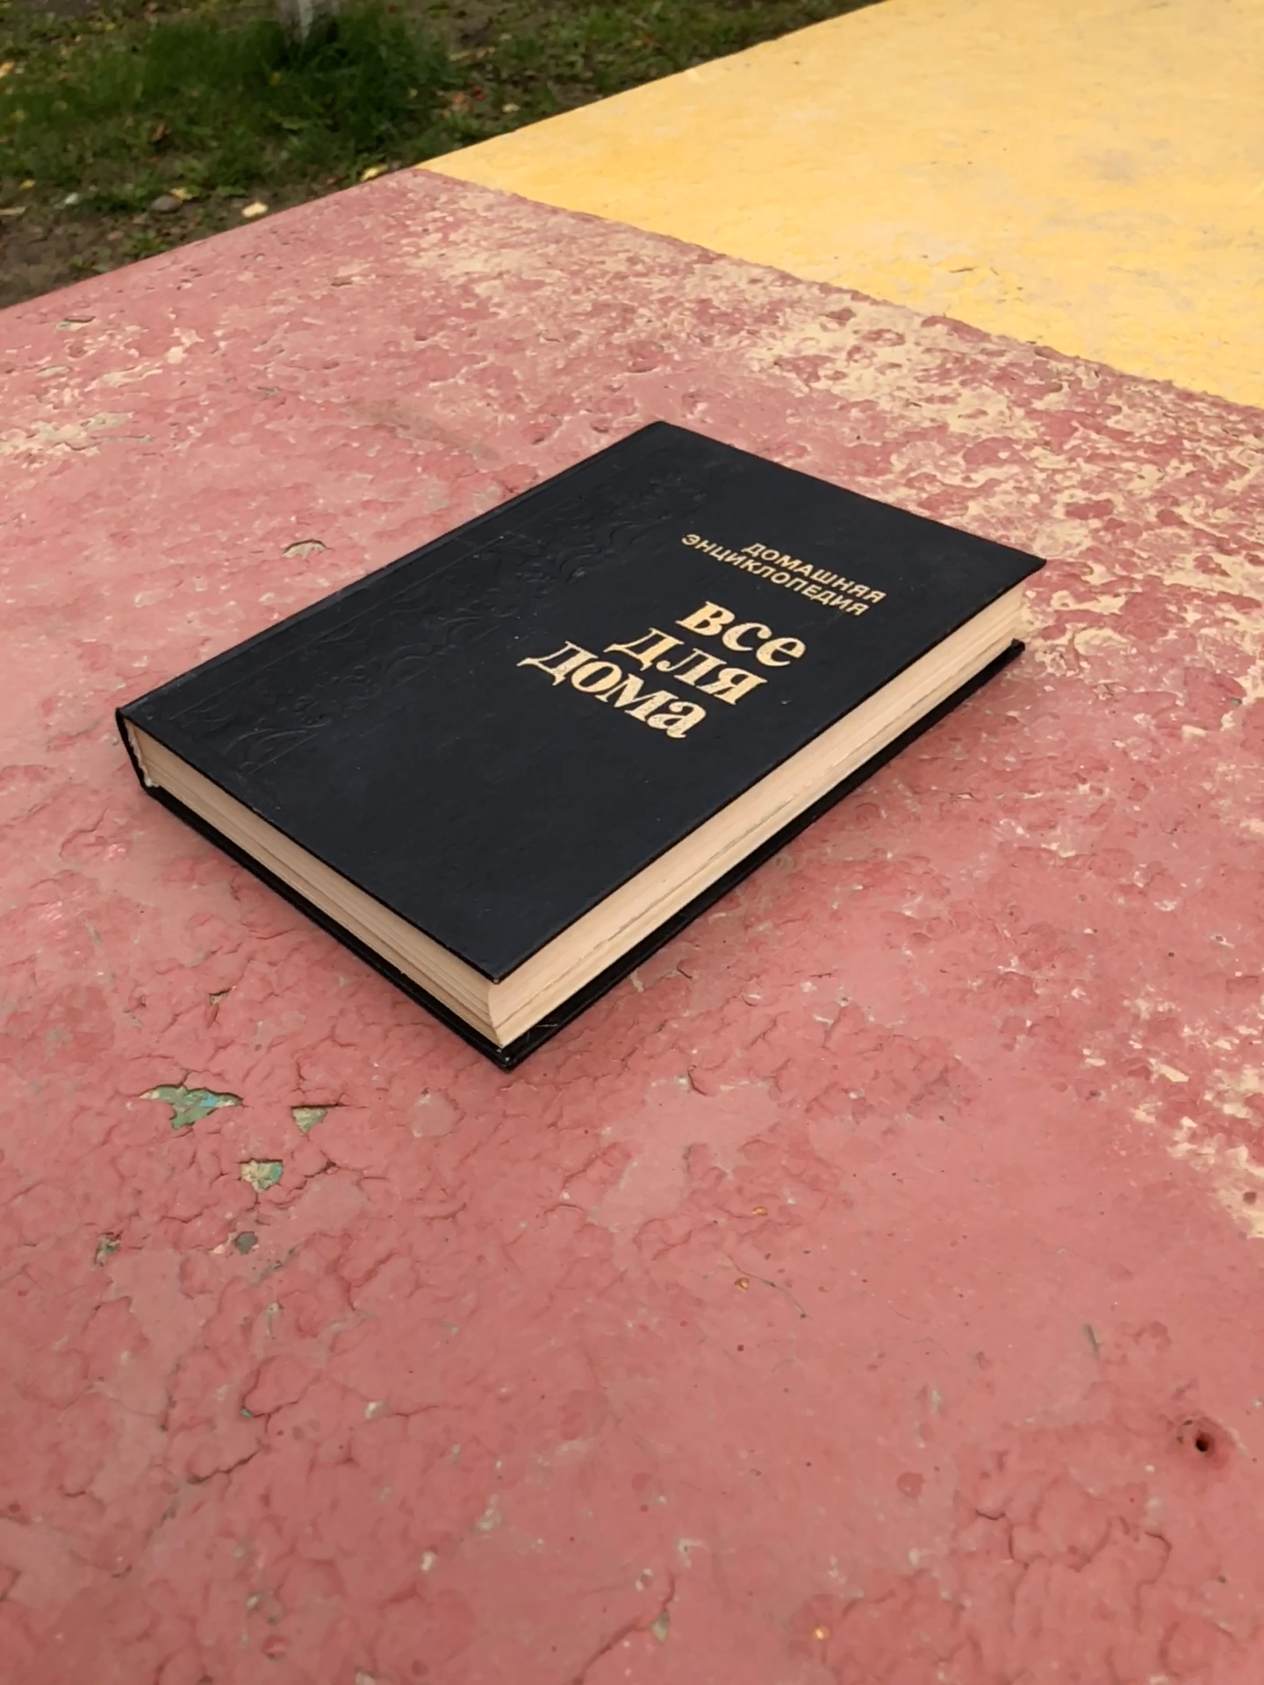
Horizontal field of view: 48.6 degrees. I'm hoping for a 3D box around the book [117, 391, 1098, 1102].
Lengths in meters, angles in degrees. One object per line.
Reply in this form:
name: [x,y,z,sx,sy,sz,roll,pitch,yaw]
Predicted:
book: [-0.001,-0.046,0.375,0.150,0.040,0.210,31,52,33]
